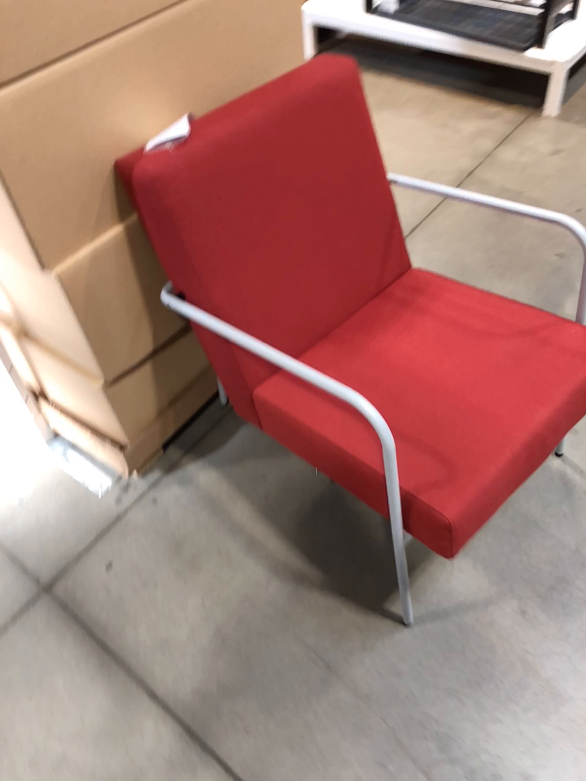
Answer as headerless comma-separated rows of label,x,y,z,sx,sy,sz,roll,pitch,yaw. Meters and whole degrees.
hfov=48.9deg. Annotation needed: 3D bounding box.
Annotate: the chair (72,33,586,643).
chair,0.157,-0.130,1.260,0.631,0.708,0.762,-39,56,-25
